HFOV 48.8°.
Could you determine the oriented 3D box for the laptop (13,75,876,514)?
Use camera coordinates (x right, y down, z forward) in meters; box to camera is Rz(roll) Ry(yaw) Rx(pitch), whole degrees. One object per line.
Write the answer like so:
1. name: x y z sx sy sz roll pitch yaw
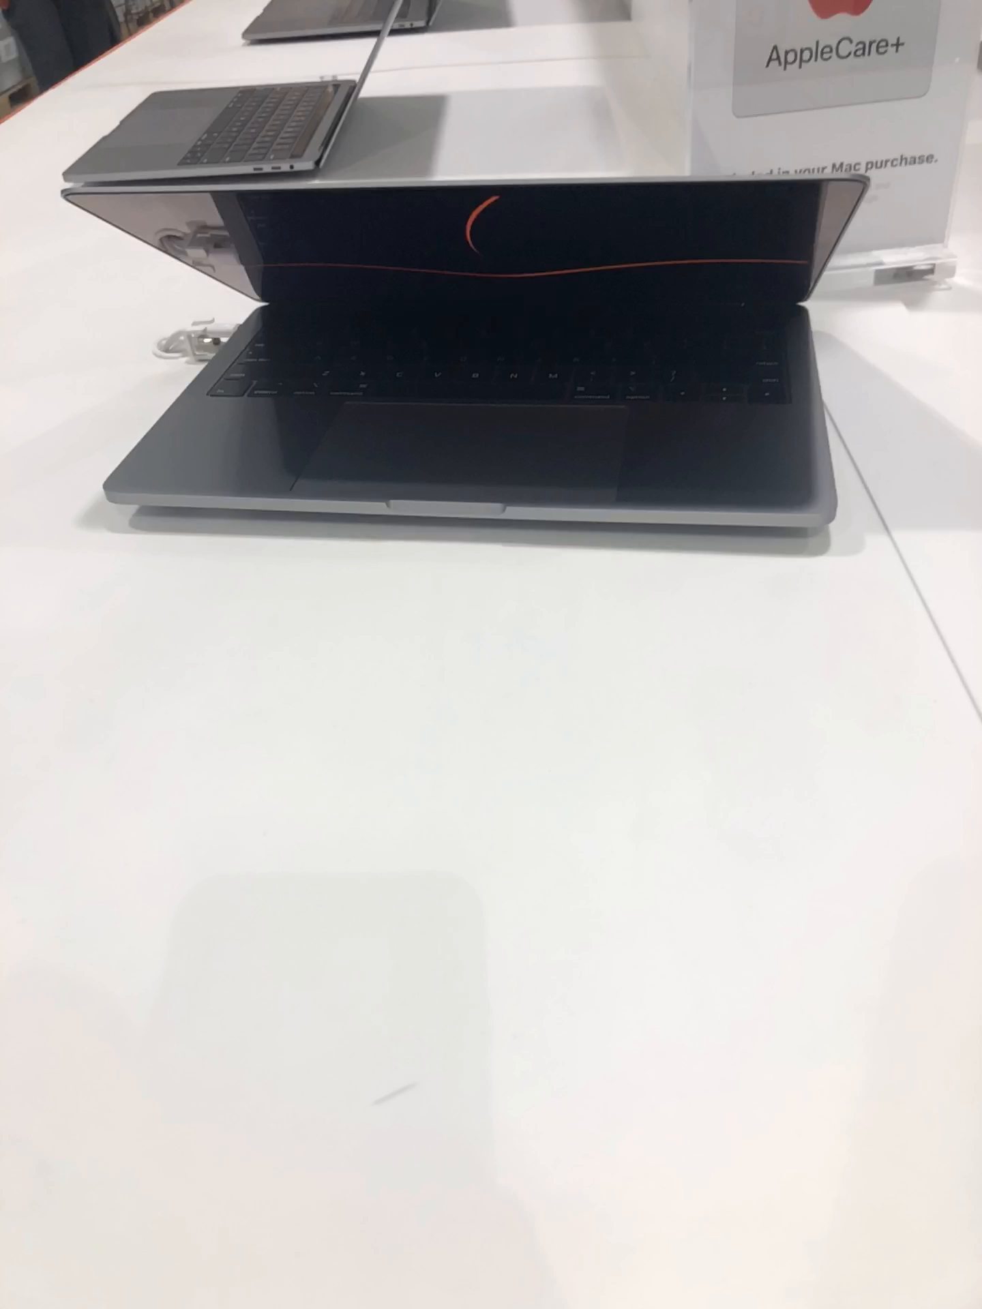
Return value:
1. laptop: -0.004 -0.168 0.478 0.297 0.109 0.211 3 39 10
